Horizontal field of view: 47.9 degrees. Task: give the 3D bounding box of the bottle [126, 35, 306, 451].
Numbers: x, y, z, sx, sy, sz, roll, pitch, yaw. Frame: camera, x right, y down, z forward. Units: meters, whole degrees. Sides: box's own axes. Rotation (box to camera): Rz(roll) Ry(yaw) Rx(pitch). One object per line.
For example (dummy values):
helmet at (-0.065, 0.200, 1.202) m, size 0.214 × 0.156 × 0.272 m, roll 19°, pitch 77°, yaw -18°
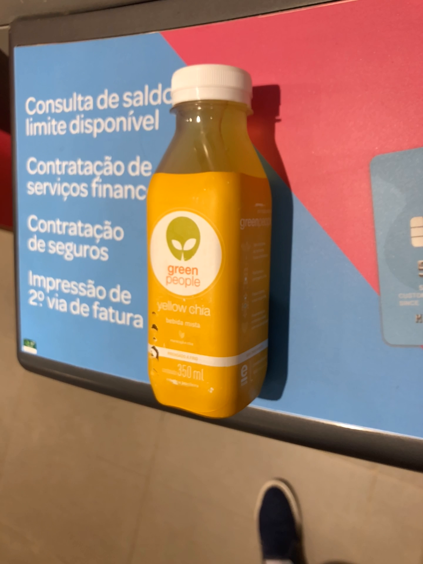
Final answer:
bottle at (0.002, -0.018, 0.247) m, size 0.060 × 0.060 × 0.180 m, roll 9°, pitch 100°, yaw 30°
